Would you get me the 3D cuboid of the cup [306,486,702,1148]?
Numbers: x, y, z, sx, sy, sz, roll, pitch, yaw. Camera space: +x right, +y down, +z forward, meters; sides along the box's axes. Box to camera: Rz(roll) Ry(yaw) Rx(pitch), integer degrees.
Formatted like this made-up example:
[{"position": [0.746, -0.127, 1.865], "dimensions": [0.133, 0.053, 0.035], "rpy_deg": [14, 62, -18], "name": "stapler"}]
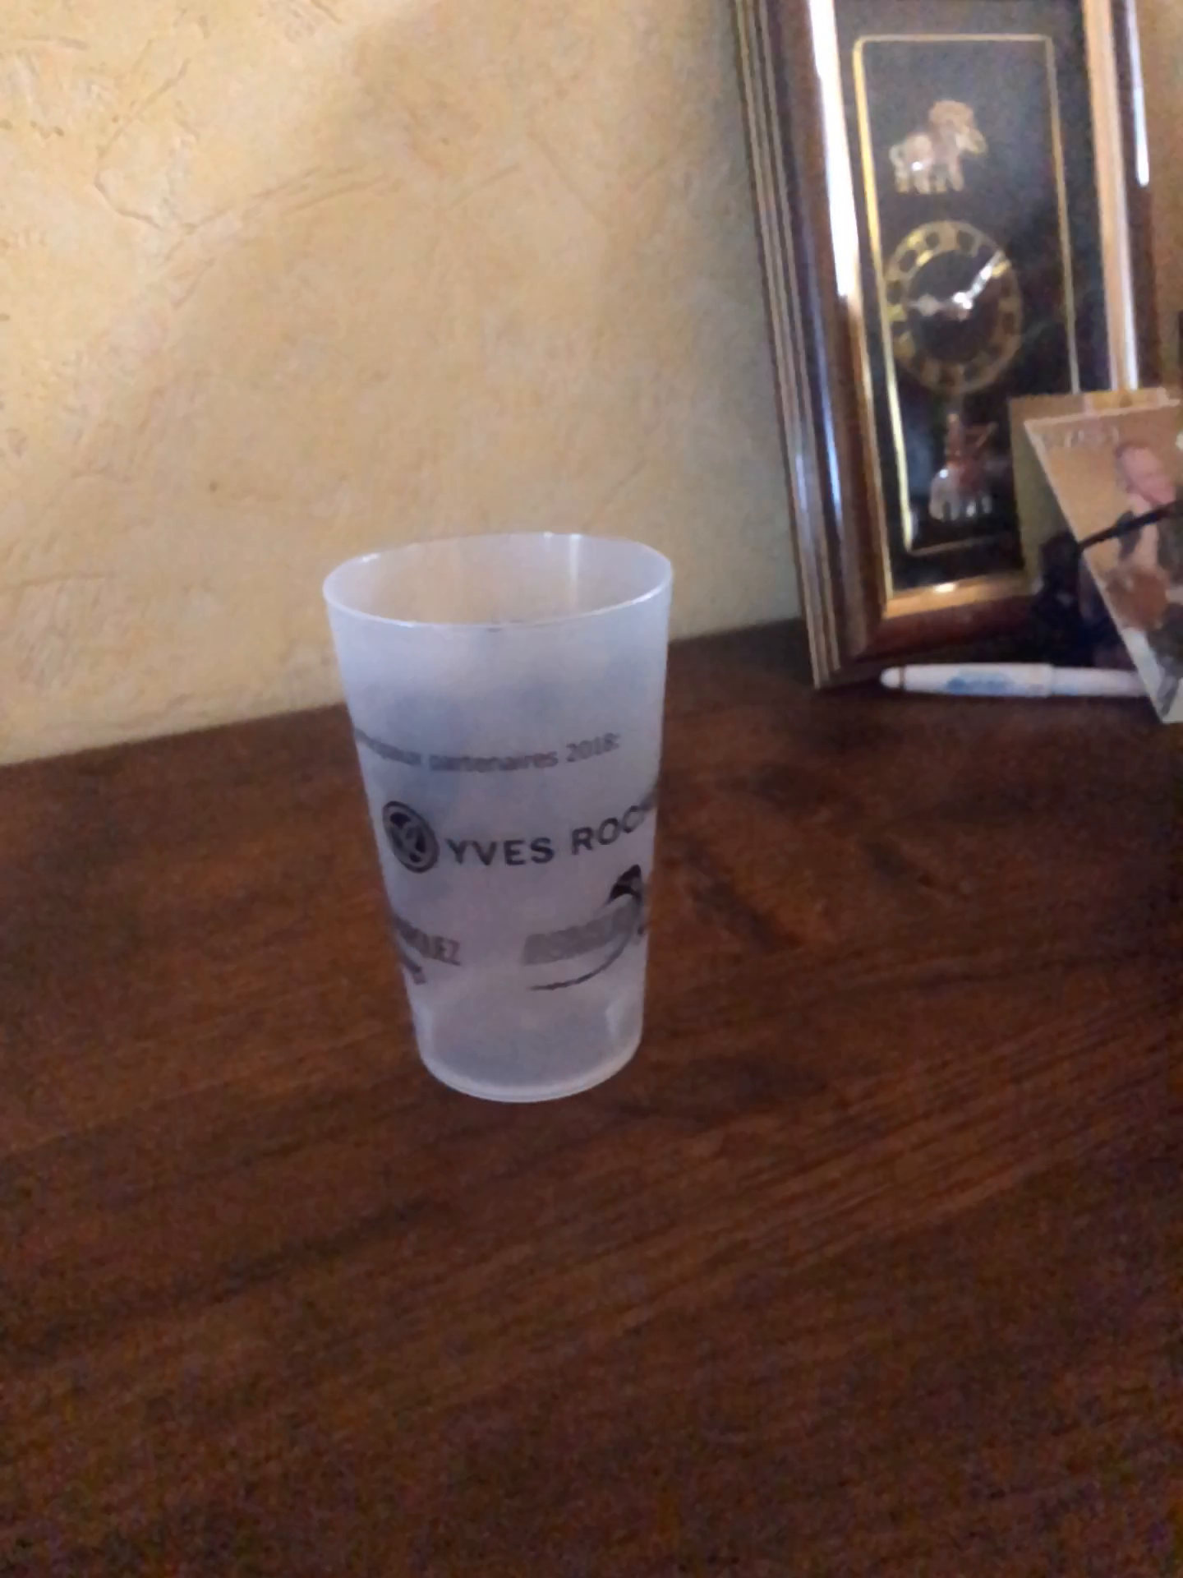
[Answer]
[{"position": [-0.019, 0.003, 0.291], "dimensions": [0.070, 0.119, 0.070], "rpy_deg": [-2, 25, 1], "name": "cup"}]
